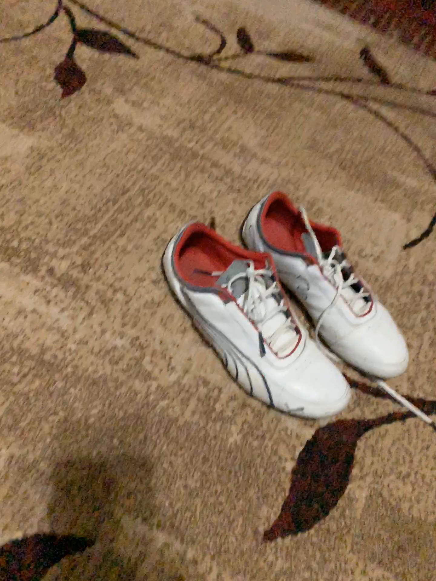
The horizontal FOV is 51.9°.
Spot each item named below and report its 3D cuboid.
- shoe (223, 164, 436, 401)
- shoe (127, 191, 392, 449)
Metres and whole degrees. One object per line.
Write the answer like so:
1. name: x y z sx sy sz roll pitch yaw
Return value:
1. shoe: 0.135 -0.021 0.543 0.104 0.070 0.281 -27 68 -28
2. shoe: 0.034 0.023 0.486 0.281 0.070 0.099 43 57 14
